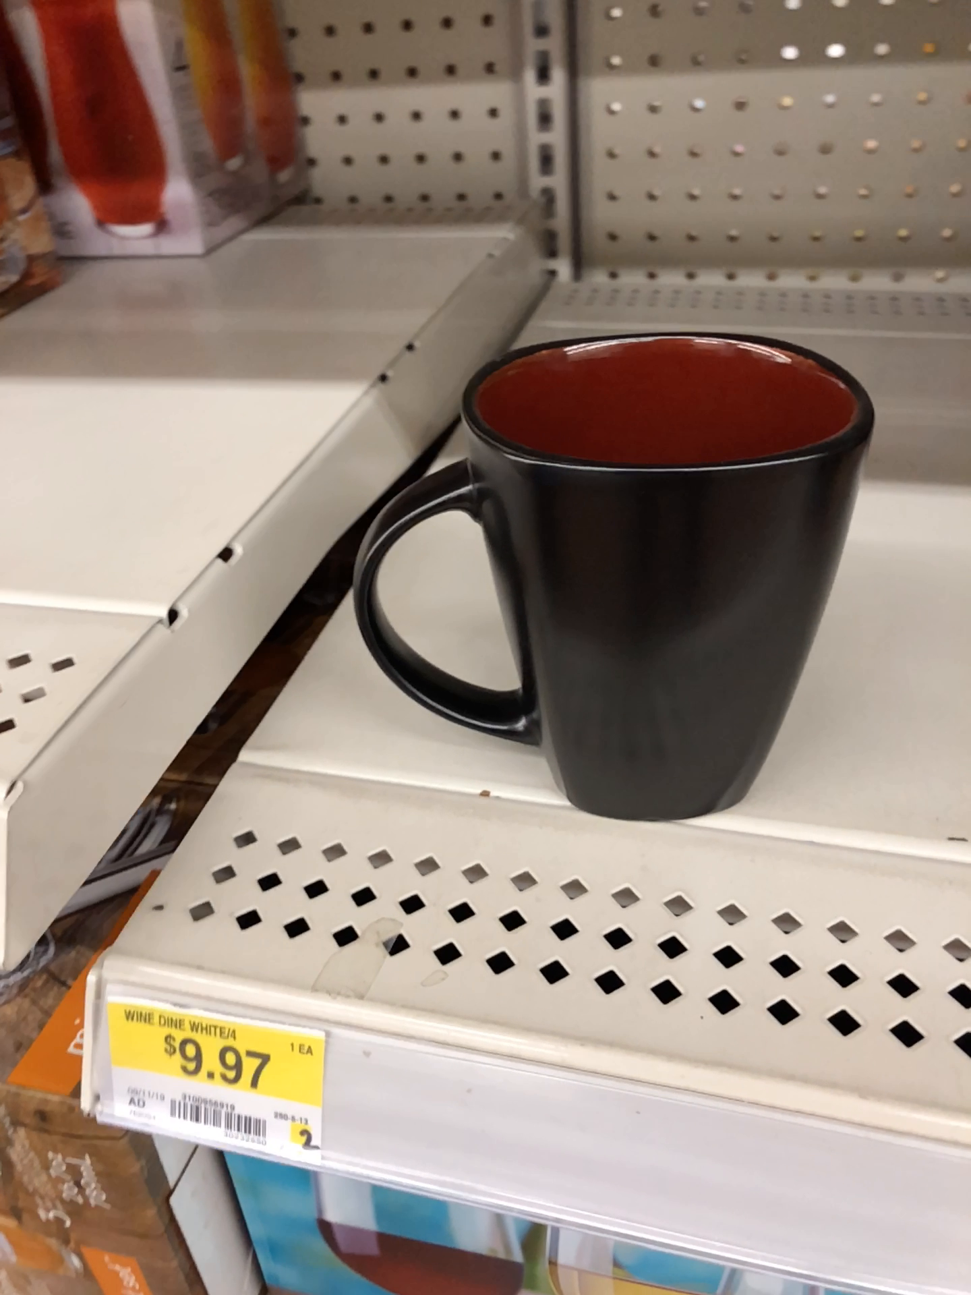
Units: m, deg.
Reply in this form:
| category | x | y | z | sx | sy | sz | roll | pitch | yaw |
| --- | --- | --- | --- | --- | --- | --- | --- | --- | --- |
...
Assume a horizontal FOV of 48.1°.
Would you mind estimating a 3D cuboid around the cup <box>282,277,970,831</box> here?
| category | x | y | z | sx | sy | sz | roll | pitch | yaw |
| --- | --- | --- | --- | --- | --- | --- | --- | --- | --- |
| cup | 0.031 | -0.025 | 0.269 | 0.130 | 0.100 | 0.090 | -2 | 33 | 4 |
